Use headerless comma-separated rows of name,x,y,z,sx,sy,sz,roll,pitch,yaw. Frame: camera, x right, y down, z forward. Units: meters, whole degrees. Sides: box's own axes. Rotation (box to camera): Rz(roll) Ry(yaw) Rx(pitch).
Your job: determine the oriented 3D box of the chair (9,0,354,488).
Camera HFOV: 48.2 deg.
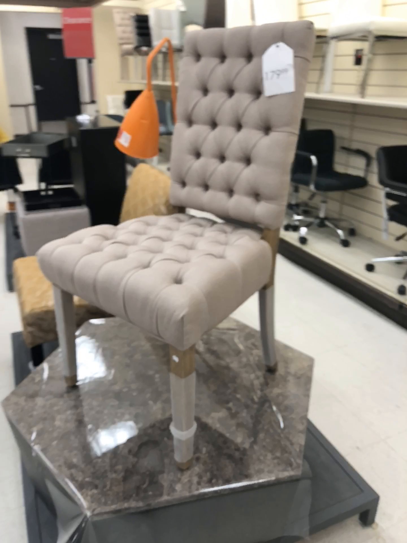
chair,-0.045,-0.118,1.275,0.571,1.046,0.581,19,29,37
